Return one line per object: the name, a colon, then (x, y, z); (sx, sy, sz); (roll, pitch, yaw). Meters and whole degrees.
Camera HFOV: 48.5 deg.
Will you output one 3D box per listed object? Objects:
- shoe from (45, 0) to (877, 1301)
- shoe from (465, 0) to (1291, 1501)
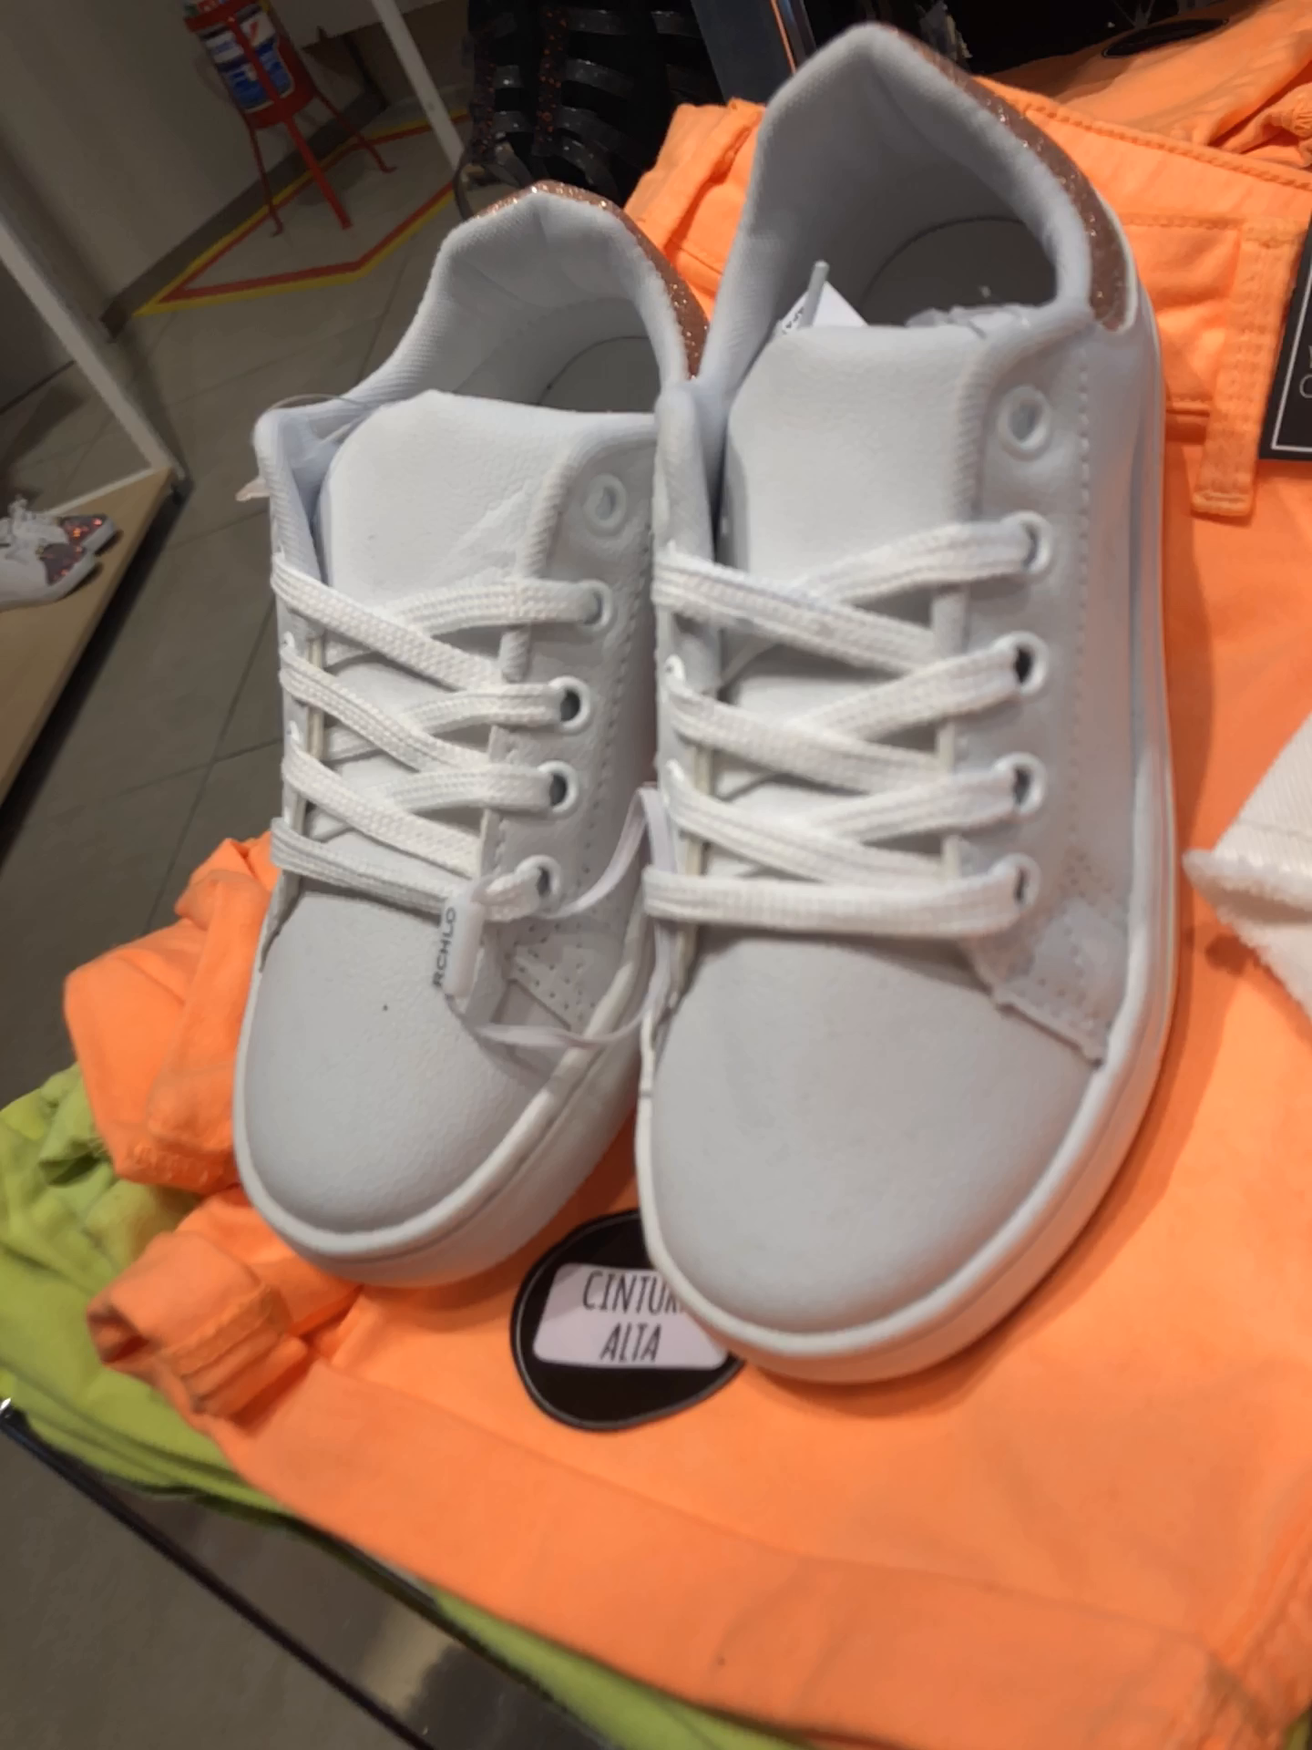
shoe: (-0.023, -0.040, 0.261); (0.080, 0.070, 0.211); (7, 76, 19)
shoe: (0.043, -0.031, 0.215); (0.080, 0.070, 0.211); (-1, 73, 31)
